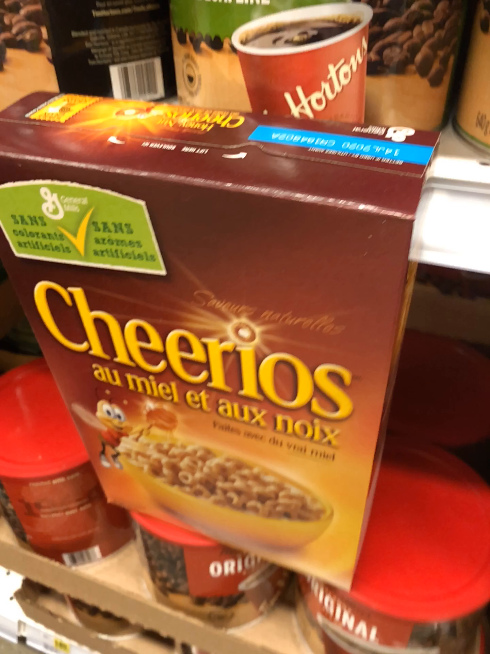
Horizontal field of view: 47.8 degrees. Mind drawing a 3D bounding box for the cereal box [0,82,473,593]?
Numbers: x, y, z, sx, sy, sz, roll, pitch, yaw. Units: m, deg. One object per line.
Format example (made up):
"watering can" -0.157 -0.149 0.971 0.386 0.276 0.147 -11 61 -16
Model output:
"cereal box" -0.009 0.026 0.317 0.200 0.289 0.060 13 45 19
